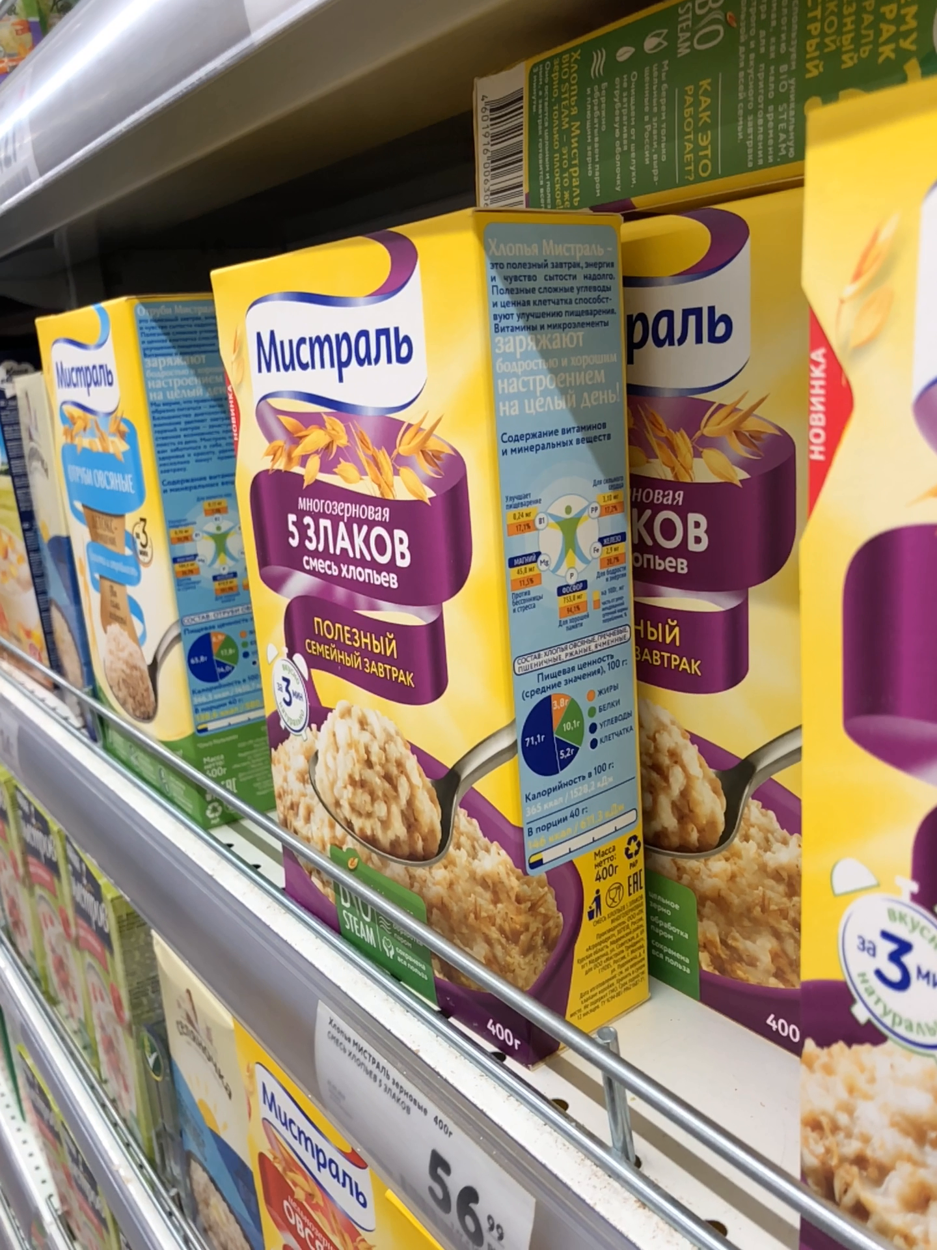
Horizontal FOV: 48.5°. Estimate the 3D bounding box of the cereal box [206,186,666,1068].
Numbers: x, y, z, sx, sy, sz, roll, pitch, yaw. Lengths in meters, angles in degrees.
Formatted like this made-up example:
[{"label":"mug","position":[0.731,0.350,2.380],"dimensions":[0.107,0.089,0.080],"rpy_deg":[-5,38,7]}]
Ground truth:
[{"label":"cereal box","position":[-0.012,-0.004,0.305],"dimensions":[0.050,0.209,0.130],"rpy_deg":[-14,16,-35]}]
